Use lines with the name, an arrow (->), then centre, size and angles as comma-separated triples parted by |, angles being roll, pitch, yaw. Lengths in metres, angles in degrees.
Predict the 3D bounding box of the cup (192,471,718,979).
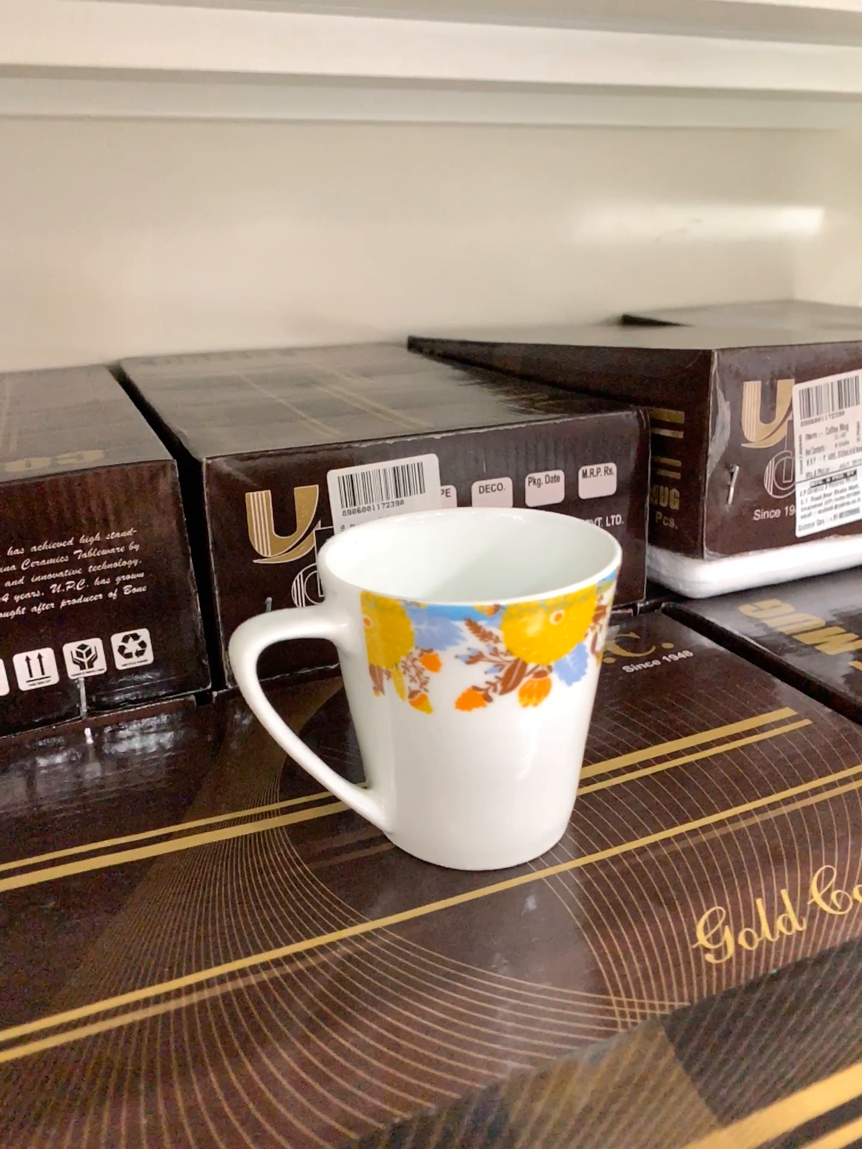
cup -> 0.002, 0.024, 0.200 | 0.090, 0.070, 0.070 | -10, 21, -21
